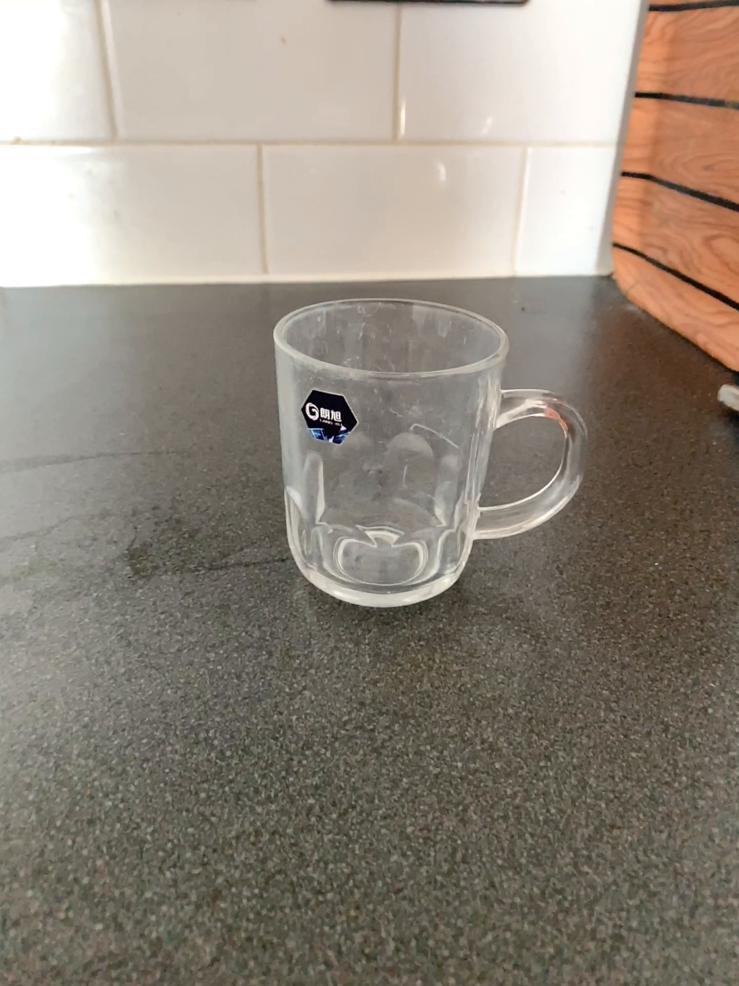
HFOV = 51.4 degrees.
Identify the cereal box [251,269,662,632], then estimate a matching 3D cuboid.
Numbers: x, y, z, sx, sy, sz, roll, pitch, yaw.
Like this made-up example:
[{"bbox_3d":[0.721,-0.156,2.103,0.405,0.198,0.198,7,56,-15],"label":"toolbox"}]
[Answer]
[{"bbox_3d":[0.020,-0.020,0.262,0.110,0.089,0.081,-4,30,-10],"label":"cereal box"}]
